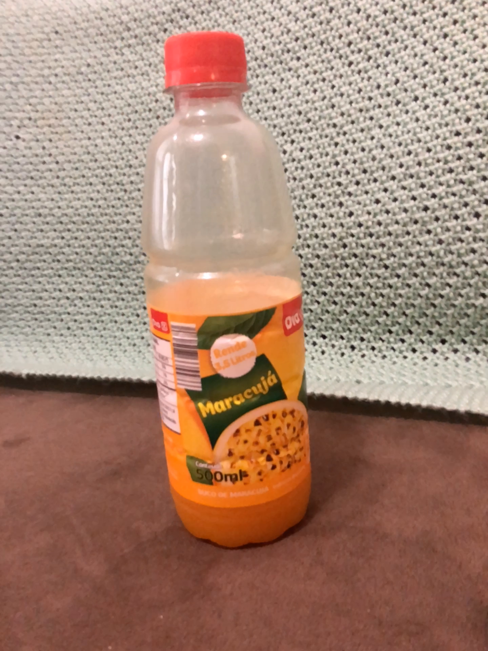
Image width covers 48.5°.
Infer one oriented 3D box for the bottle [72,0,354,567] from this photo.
[{"bbox_3d":[-0.008,-0.016,0.230,0.080,0.199,0.080,-5,15,1],"label":"bottle"}]
